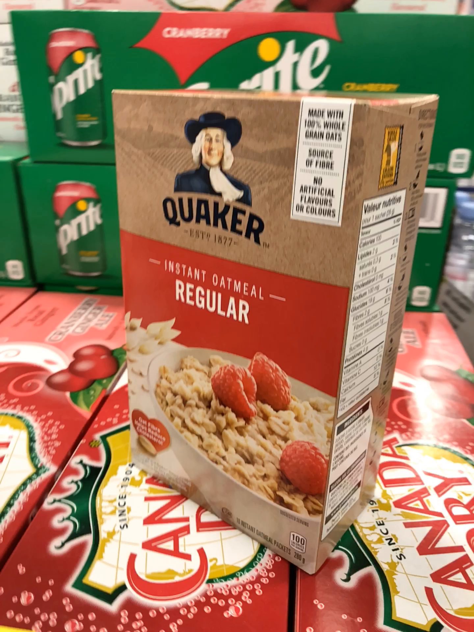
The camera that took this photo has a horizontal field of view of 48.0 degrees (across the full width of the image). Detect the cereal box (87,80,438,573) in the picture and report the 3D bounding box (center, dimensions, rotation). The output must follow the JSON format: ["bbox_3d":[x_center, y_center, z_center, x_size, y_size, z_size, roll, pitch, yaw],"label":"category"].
[{"bbox_3d":[0.004,-0.004,0.262,0.130,0.199,0.070,18,27,32],"label":"cereal box"}]
